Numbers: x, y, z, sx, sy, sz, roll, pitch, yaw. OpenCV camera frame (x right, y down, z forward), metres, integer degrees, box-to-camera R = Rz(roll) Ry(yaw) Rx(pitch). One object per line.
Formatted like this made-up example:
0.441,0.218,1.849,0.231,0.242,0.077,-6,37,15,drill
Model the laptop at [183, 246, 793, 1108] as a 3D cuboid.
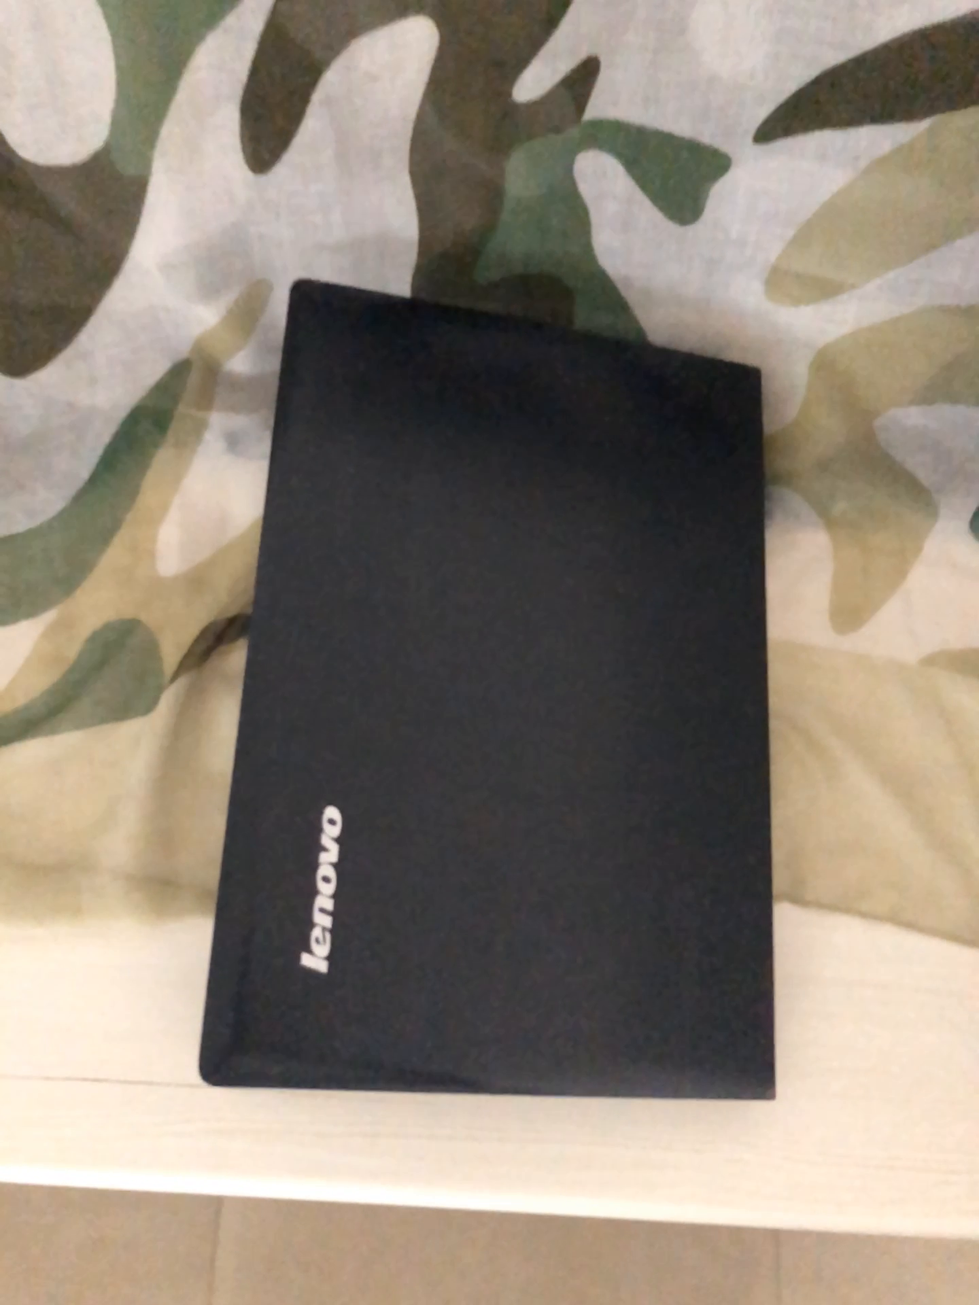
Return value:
0.015,0.002,0.524,0.249,0.060,0.385,5,74,-3,laptop
